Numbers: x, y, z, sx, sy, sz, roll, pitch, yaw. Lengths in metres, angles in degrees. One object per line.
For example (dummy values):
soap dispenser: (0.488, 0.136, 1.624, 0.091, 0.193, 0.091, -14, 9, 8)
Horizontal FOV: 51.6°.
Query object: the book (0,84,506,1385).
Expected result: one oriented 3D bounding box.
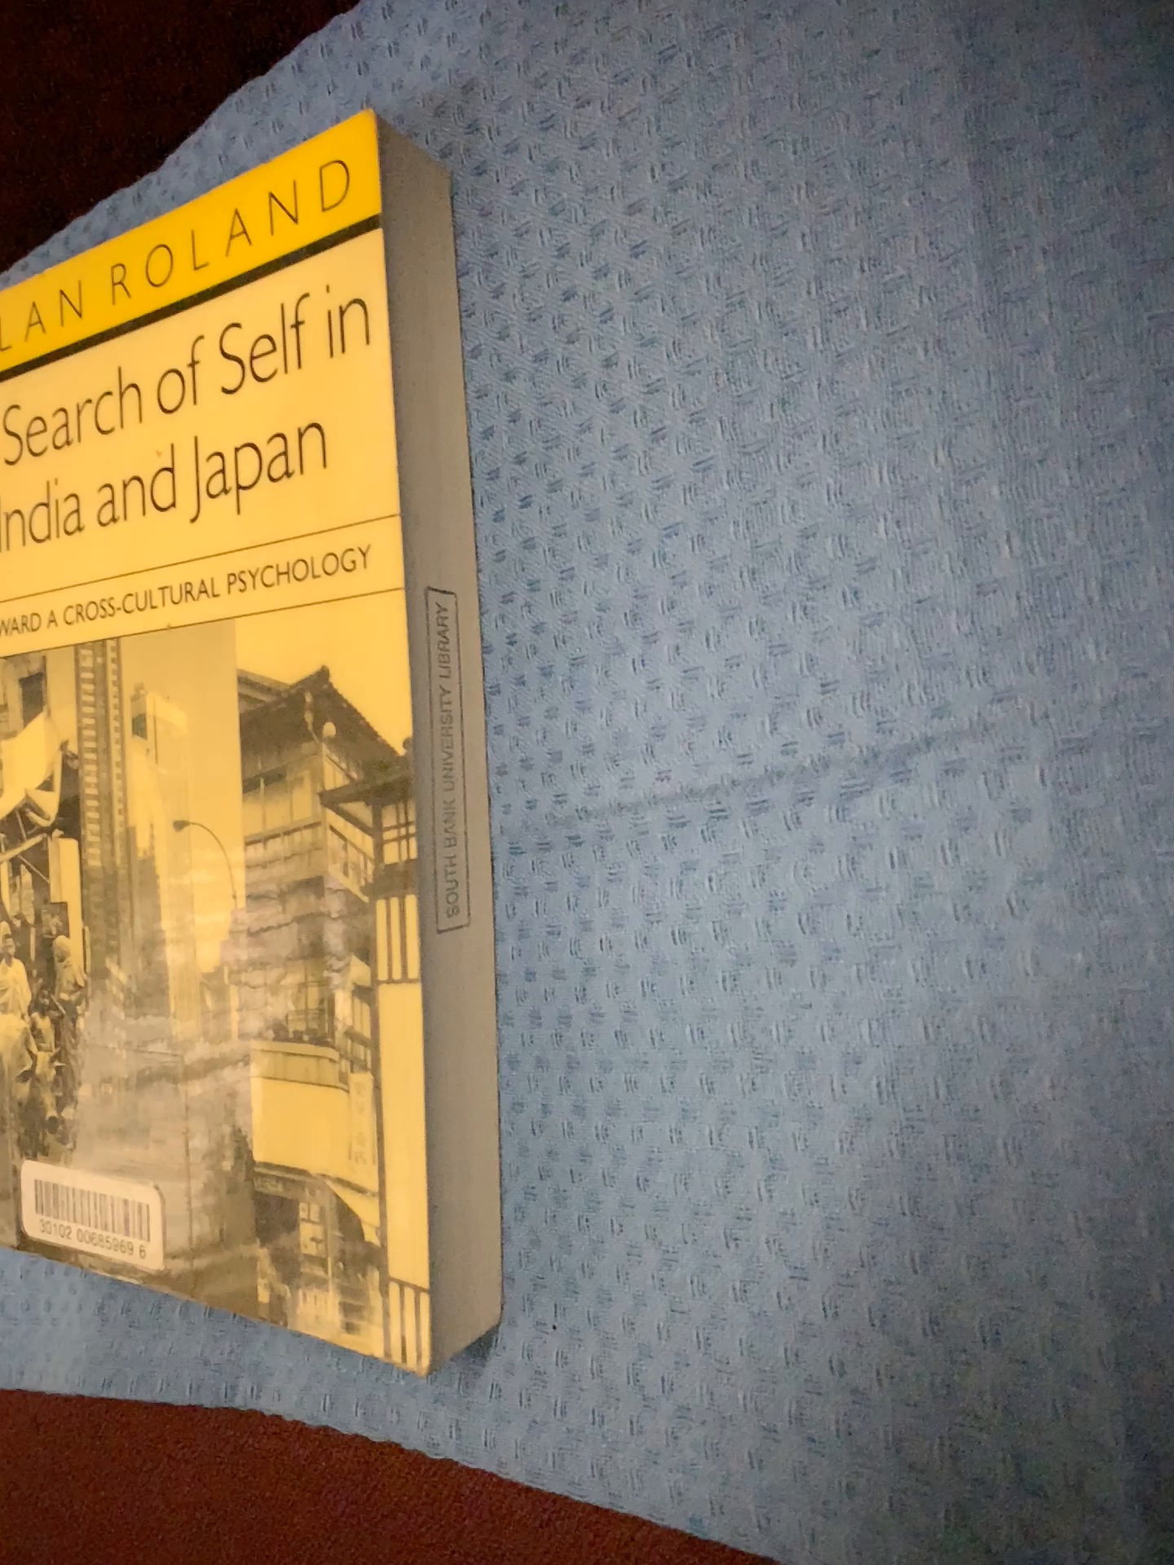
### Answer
book: (-0.093, -0.007, 0.272, 0.156, 0.032, 0.232, -3, 87, 34)
